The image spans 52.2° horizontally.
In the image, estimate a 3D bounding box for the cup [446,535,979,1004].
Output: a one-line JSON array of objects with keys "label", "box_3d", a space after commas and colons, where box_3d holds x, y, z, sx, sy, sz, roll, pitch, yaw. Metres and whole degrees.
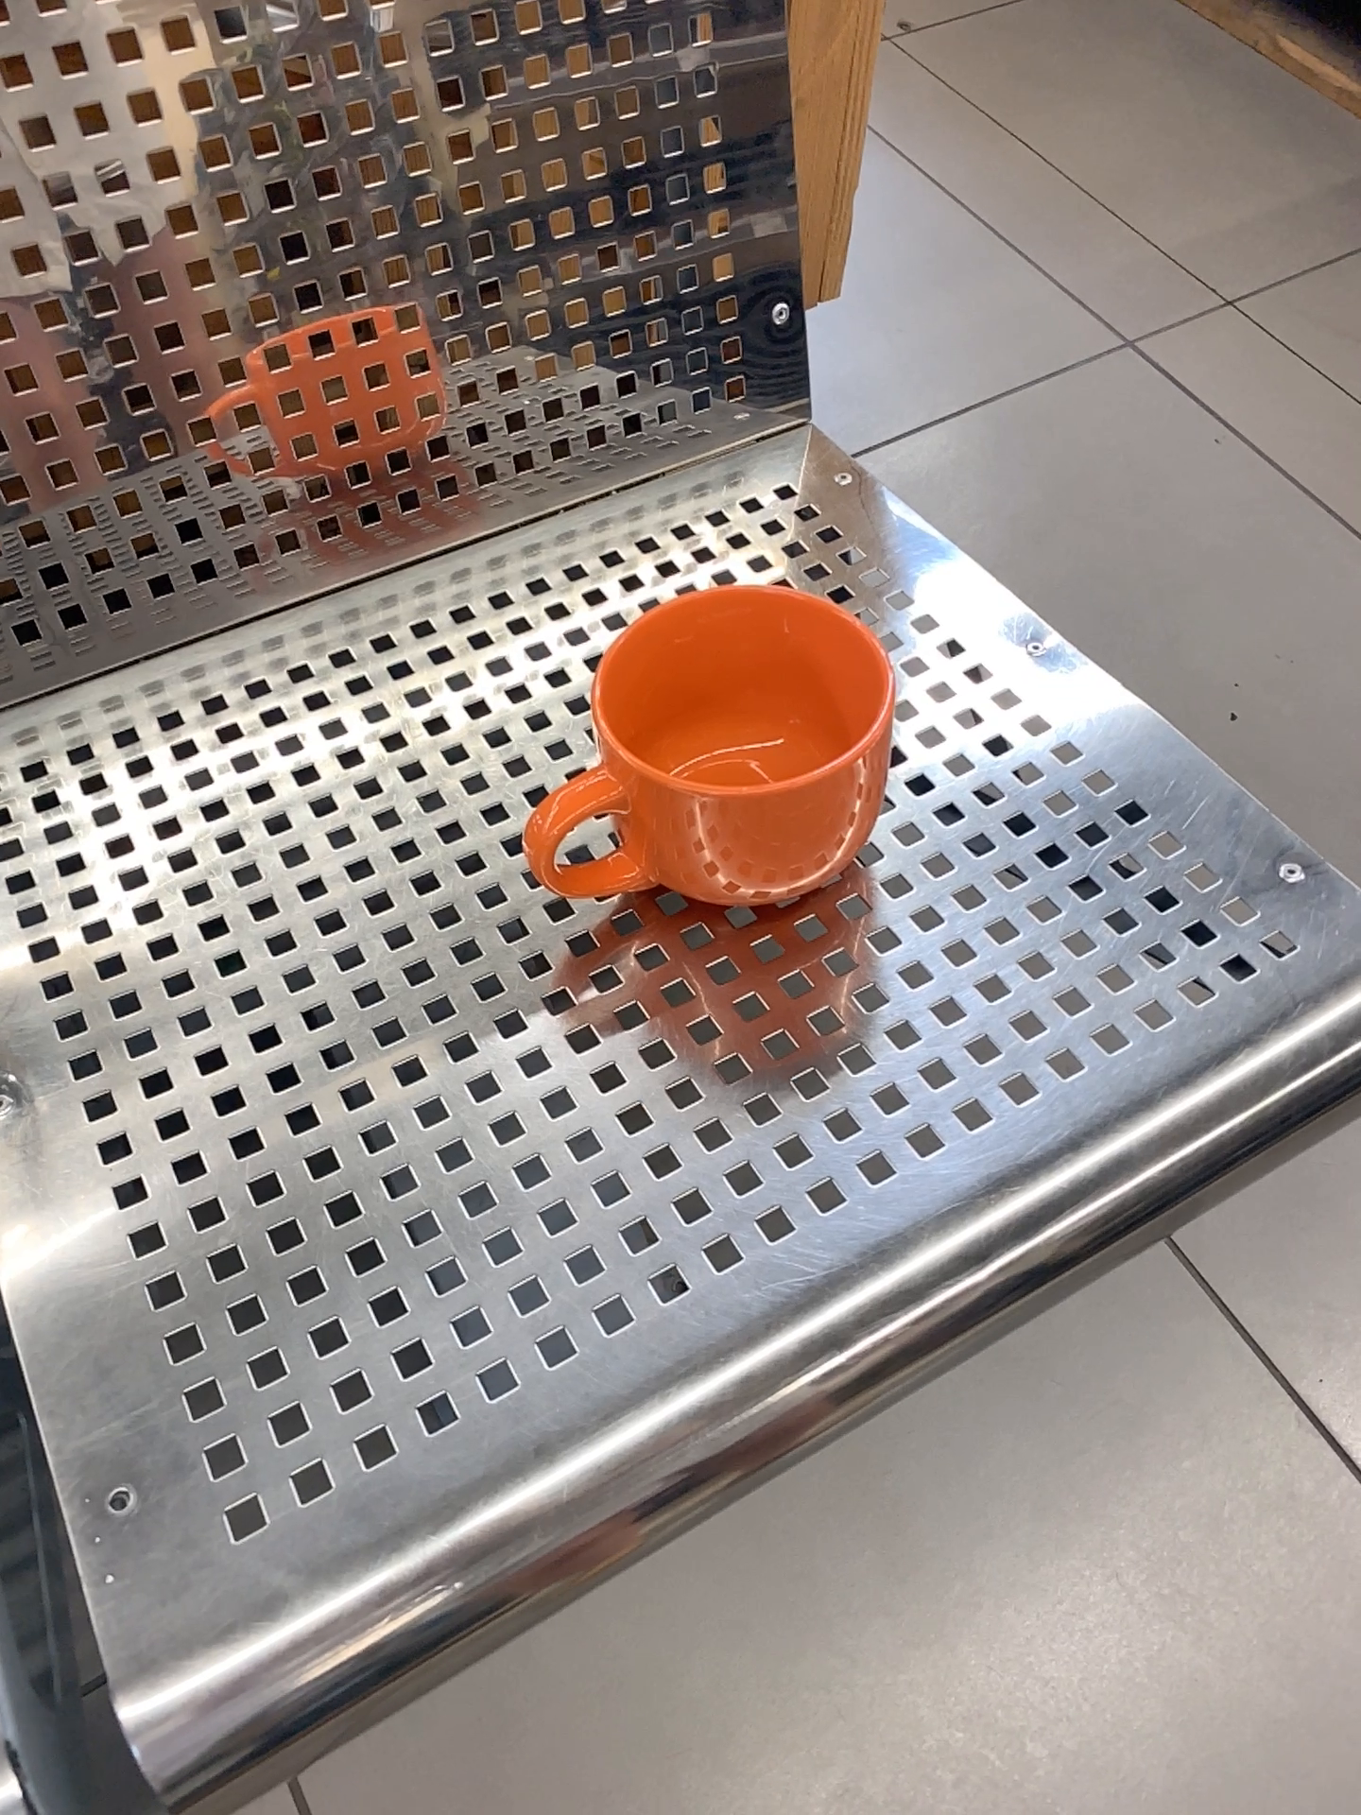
[{"label": "cup", "box_3d": [0.011, -0.056, 0.509, 0.150, 0.070, 0.110, -26, 52, -18]}]
